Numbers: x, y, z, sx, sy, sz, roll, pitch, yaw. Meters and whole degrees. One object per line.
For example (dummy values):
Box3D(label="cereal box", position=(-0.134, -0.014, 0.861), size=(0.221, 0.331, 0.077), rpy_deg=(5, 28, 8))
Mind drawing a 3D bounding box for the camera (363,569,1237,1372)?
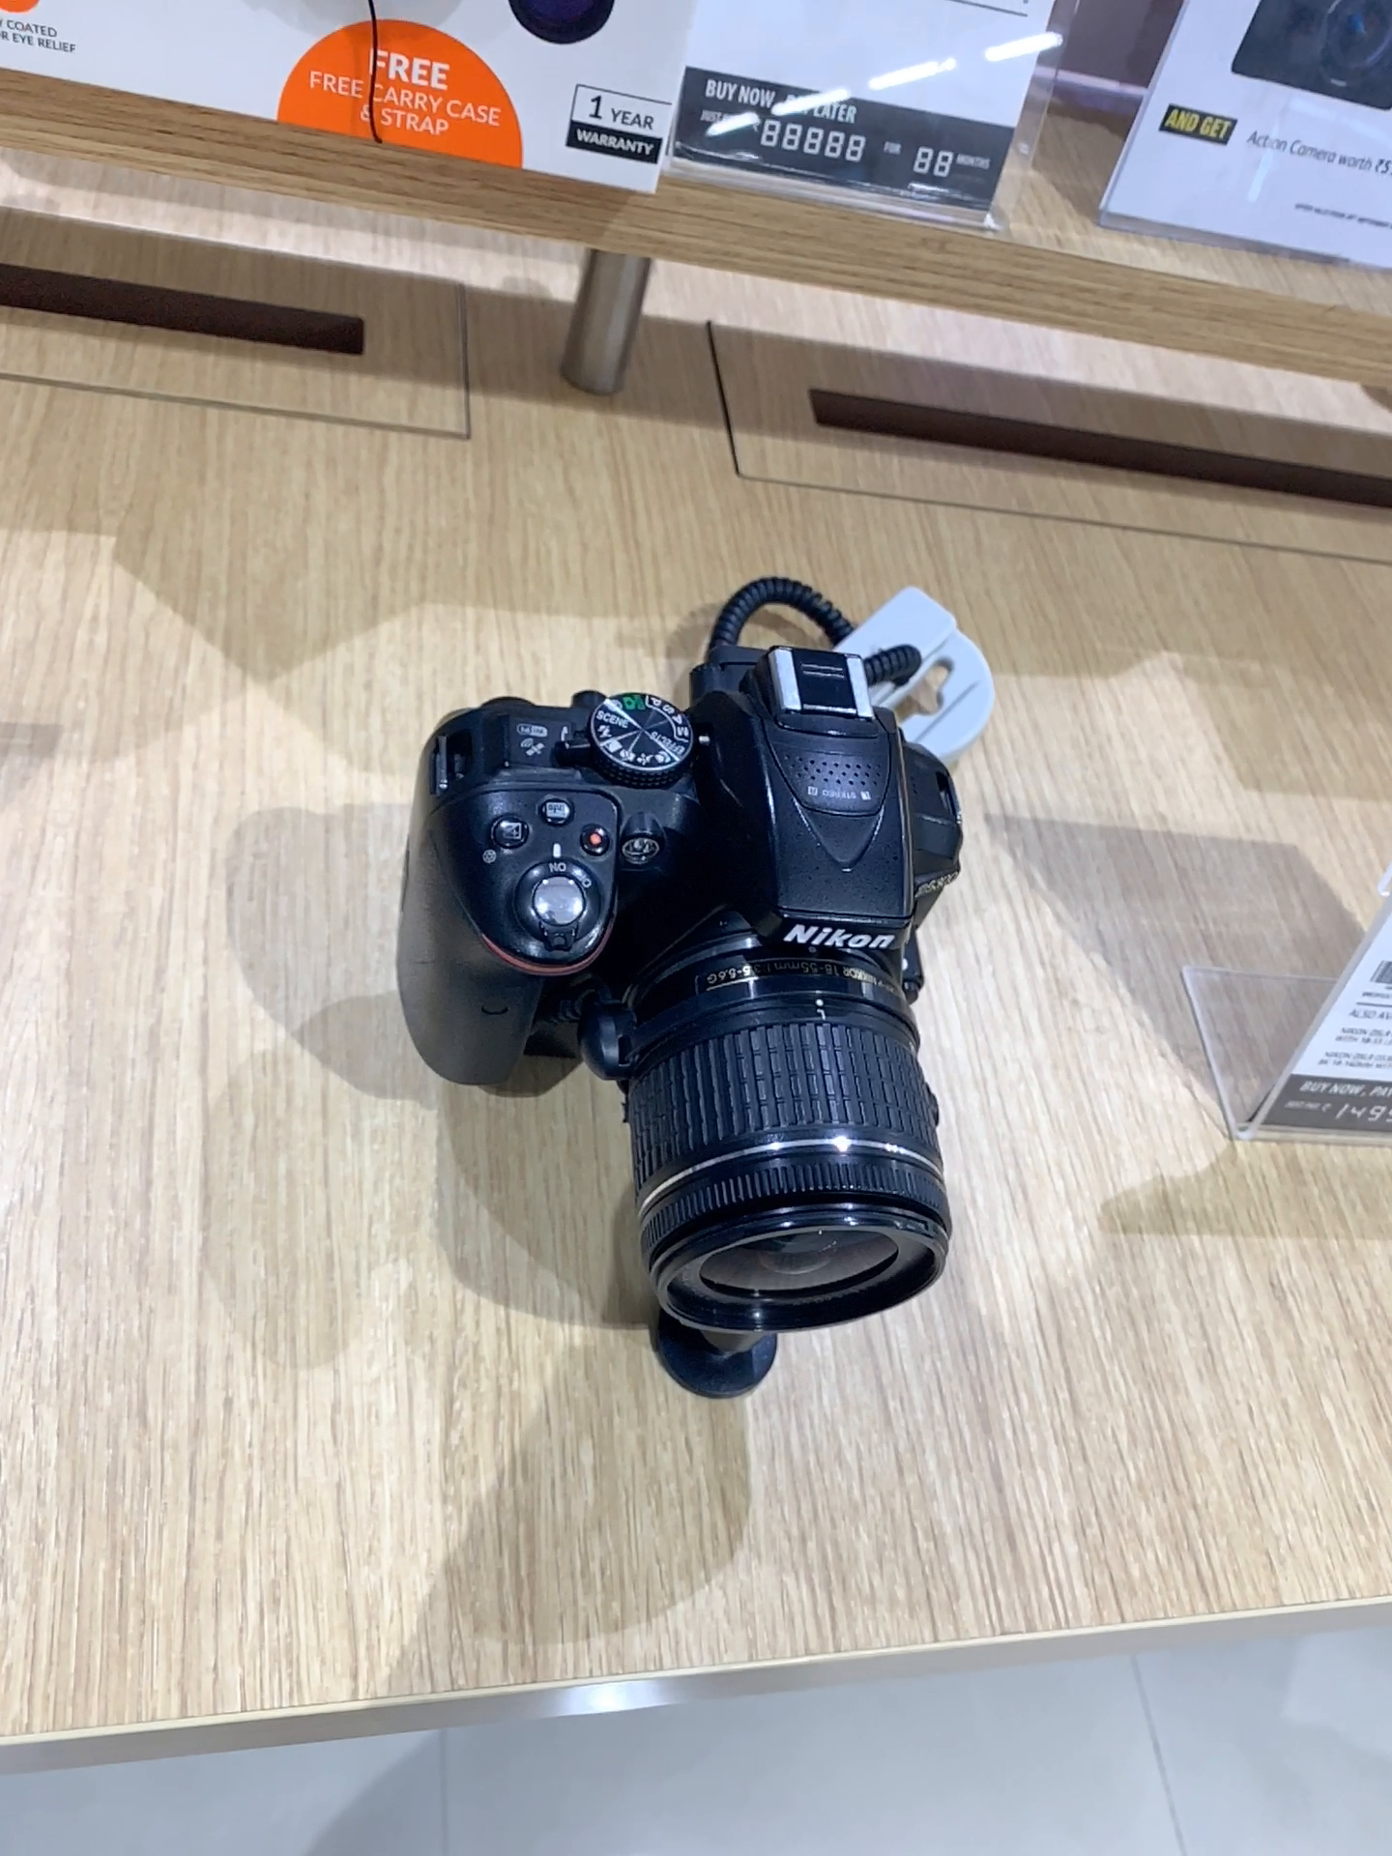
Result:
Box3D(label="camera", position=(0.006, 0.008, 0.277), size=(0.130, 0.080, 0.120), rpy_deg=(1, 56, -17))
